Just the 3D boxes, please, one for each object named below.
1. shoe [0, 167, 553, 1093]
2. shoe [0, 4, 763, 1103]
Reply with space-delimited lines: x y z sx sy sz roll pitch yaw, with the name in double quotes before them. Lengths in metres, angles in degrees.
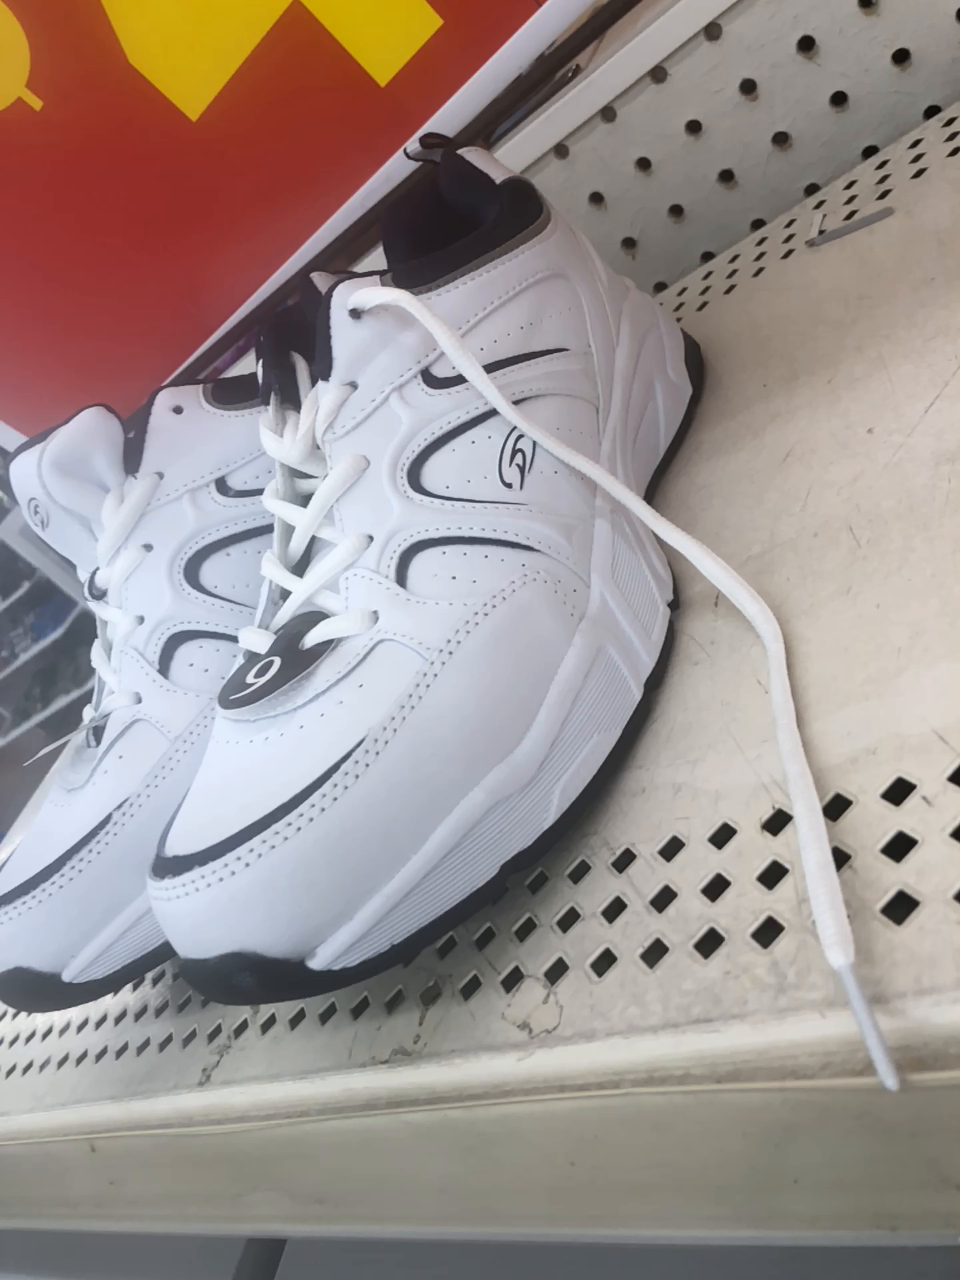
"shoe" -0.092 -0.012 0.348 0.110 0.119 0.260 -18 37 43
"shoe" -0.021 -0.034 0.284 0.110 0.119 0.260 -21 35 40
